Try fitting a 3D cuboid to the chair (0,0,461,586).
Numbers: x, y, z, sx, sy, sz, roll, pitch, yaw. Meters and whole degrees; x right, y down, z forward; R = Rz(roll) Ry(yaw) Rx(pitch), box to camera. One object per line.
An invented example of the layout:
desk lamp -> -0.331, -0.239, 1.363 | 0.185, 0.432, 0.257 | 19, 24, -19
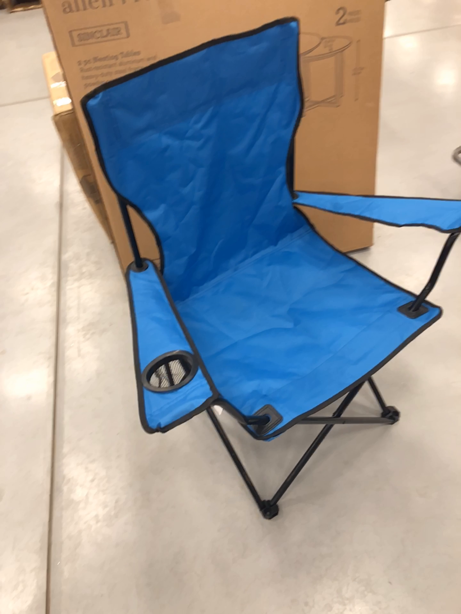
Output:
chair -> 0.077, -0.041, 1.116 | 0.791, 0.837, 0.622 | -31, 51, -21
